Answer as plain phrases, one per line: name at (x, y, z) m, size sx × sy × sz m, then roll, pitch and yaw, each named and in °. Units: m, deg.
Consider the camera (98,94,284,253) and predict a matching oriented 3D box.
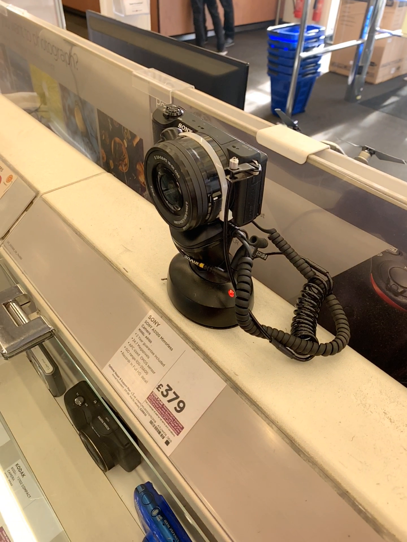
camera at (-0.014, -0.082, 0.324) m, size 0.080 × 0.059 × 0.121 m, roll -25°, pitch 48°, yaw -29°
